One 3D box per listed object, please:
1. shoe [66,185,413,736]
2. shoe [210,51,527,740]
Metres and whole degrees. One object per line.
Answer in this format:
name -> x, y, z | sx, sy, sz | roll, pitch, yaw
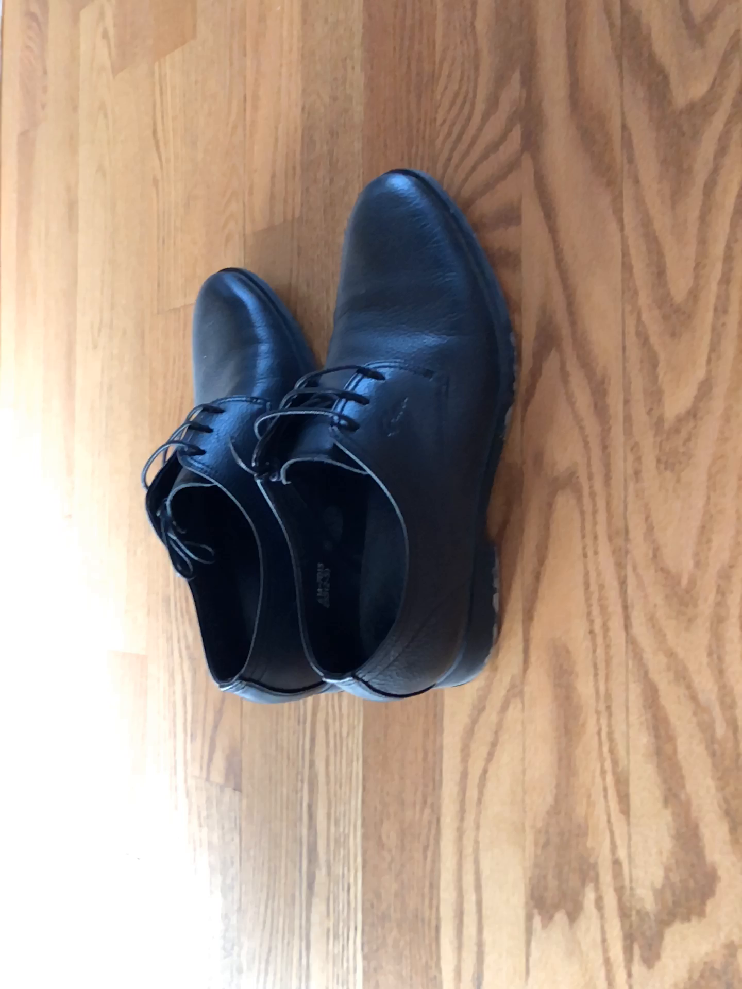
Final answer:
shoe -> -0.090, -0.019, 0.524 | 0.110, 0.124, 0.304 | -25, 72, 36
shoe -> 0.000, -0.041, 0.433 | 0.110, 0.124, 0.299 | -4, 85, 40
